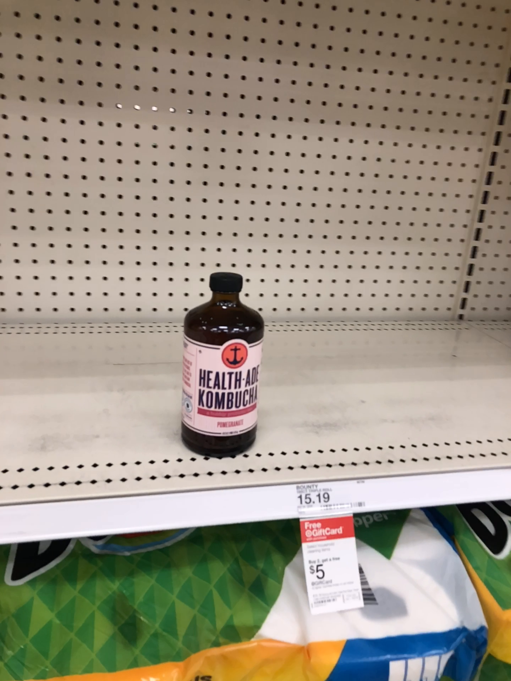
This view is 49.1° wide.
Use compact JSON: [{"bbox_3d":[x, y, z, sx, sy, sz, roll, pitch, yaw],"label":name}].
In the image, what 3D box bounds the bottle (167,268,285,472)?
[{"bbox_3d":[-0.034,0.024,0.538,0.086,0.169,0.090,4,20,-1],"label":"bottle"}]
